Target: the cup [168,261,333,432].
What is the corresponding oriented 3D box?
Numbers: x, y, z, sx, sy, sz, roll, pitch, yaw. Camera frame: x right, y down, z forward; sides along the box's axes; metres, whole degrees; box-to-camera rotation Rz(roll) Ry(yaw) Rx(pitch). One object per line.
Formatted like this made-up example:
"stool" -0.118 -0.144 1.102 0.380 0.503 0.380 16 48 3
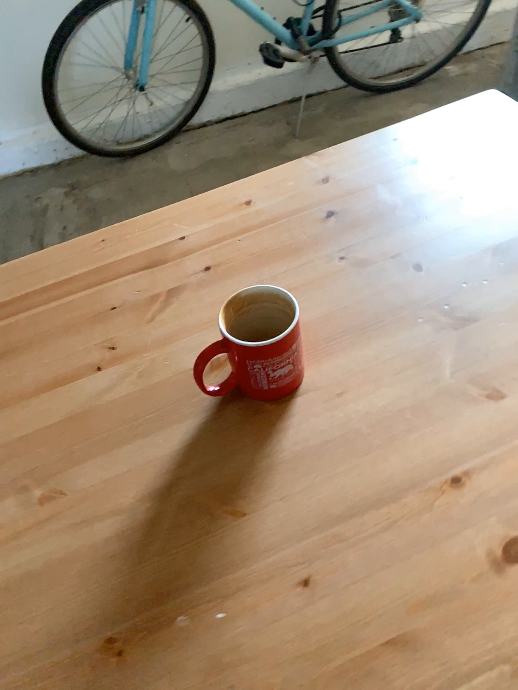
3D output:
"cup" -0.005 0.002 0.540 0.130 0.100 0.090 -24 52 -8
